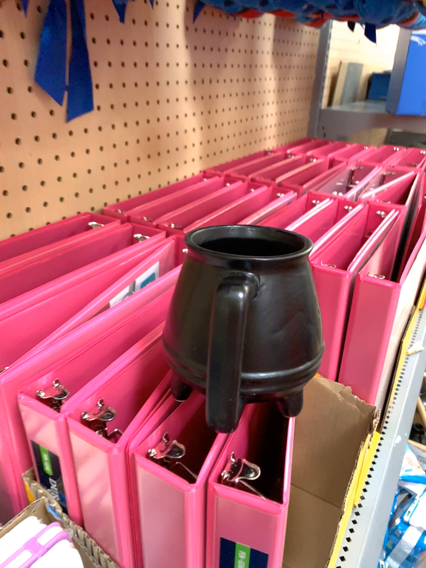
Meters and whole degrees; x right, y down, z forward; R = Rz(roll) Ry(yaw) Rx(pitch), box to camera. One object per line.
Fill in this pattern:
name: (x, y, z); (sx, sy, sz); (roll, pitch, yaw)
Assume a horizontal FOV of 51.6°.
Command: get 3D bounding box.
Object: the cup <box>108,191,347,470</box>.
cup: (0.015, 0.012, 0.249); (0.097, 0.093, 0.122); (9, 26, 11)
